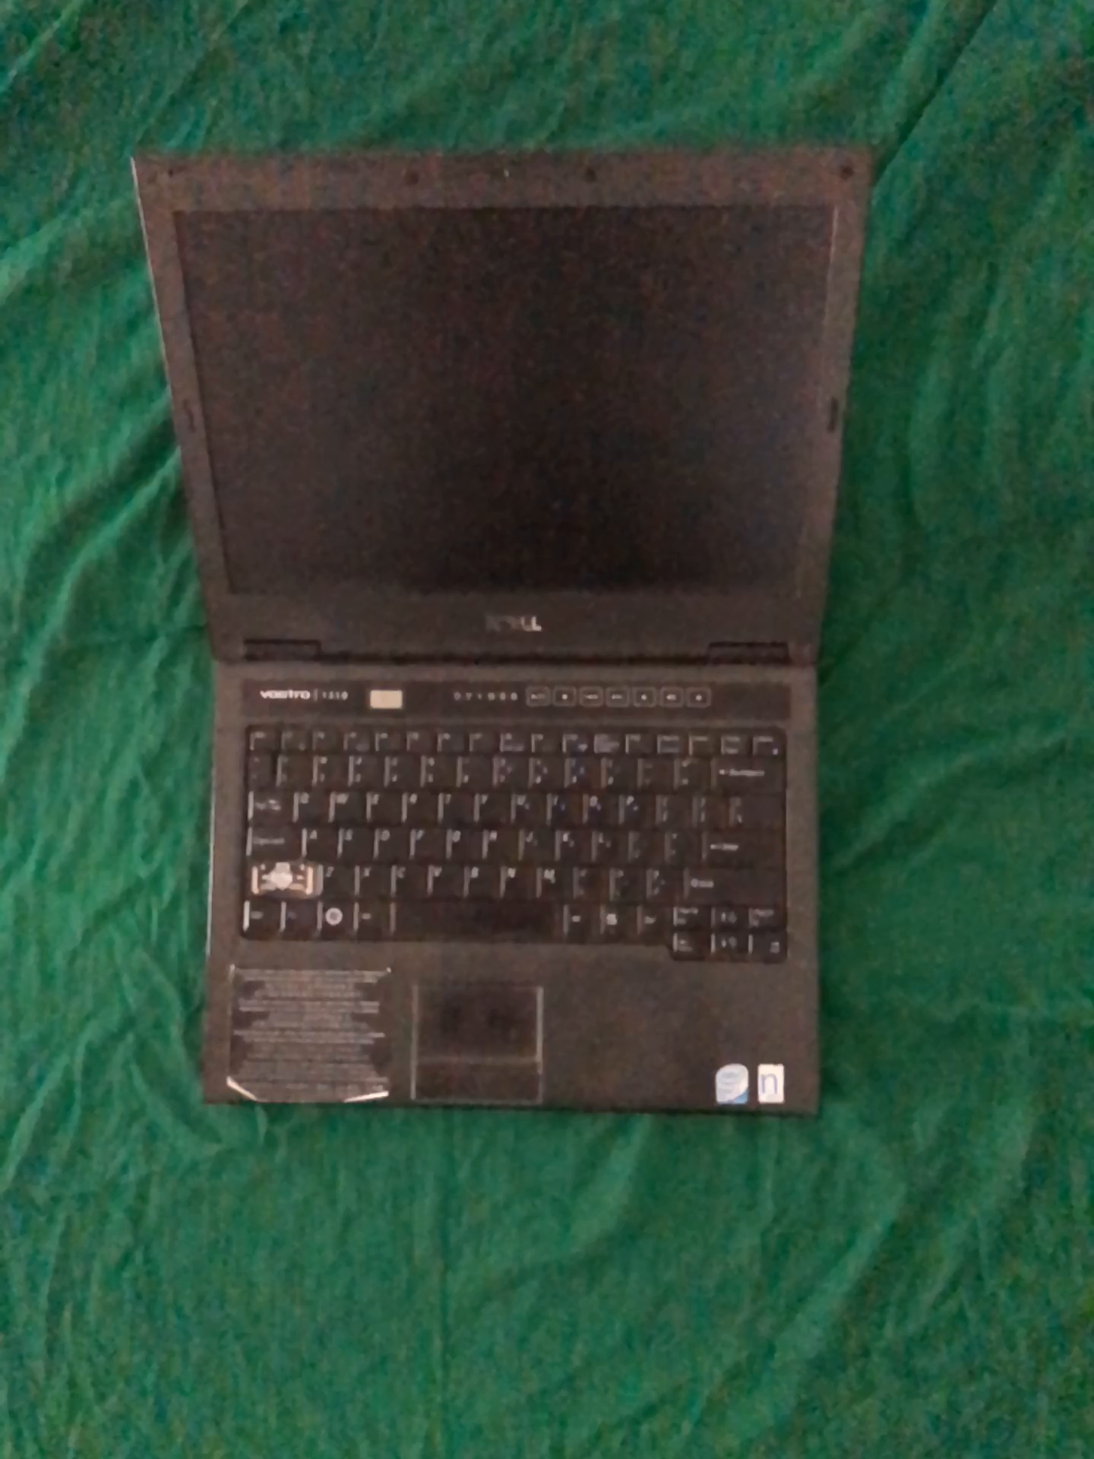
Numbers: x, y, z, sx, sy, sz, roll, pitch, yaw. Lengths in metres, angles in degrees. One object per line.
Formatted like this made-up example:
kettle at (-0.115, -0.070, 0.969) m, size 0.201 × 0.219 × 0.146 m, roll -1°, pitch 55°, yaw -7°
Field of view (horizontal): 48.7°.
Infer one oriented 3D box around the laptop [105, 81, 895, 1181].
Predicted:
laptop at (-0.022, -0.033, 0.557) m, size 0.313 × 0.127 × 0.438 m, roll 1°, pitch 91°, yaw 4°
